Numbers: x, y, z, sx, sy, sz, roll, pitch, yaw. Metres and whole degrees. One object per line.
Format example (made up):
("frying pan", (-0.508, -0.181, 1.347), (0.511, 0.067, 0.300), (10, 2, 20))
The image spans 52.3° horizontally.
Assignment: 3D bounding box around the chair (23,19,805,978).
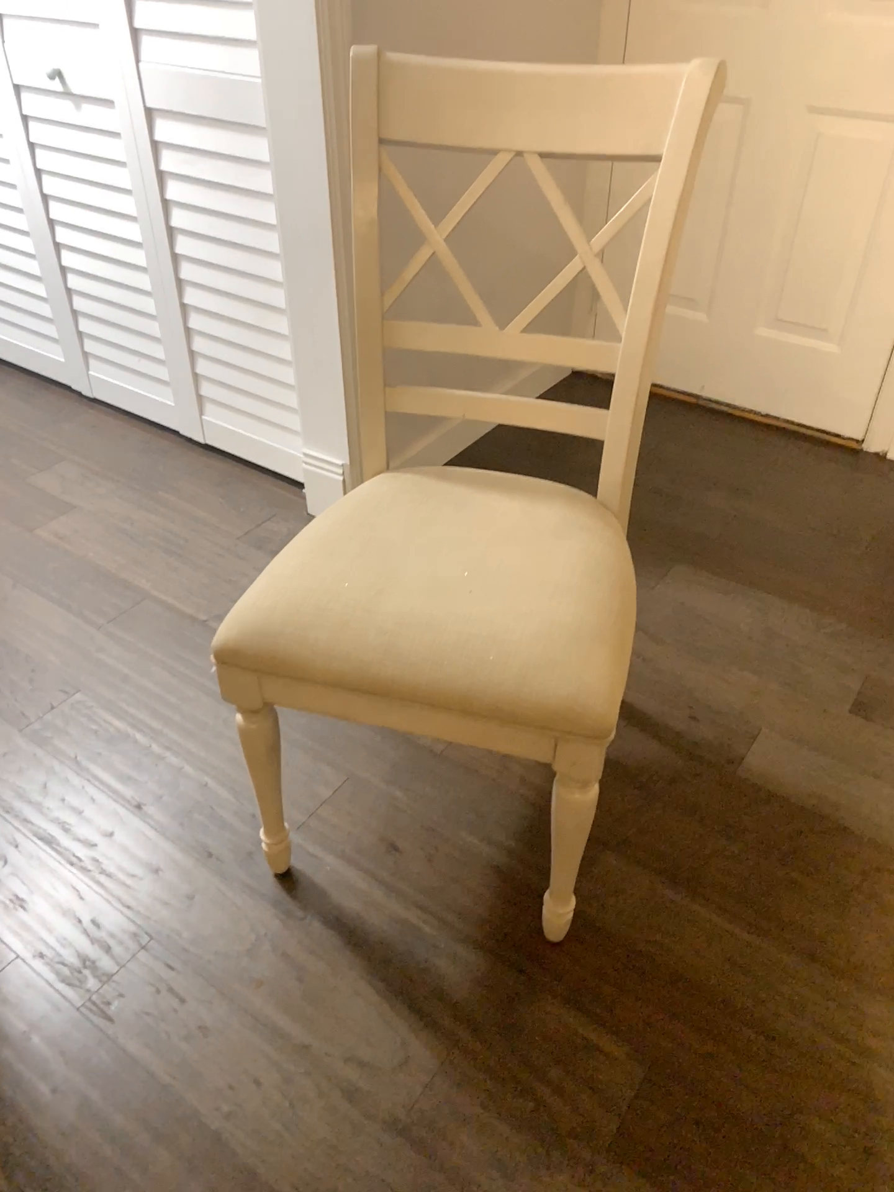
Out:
("chair", (0.030, -0.122, 1.183), (0.580, 0.994, 0.613), (10, 39, 12))
